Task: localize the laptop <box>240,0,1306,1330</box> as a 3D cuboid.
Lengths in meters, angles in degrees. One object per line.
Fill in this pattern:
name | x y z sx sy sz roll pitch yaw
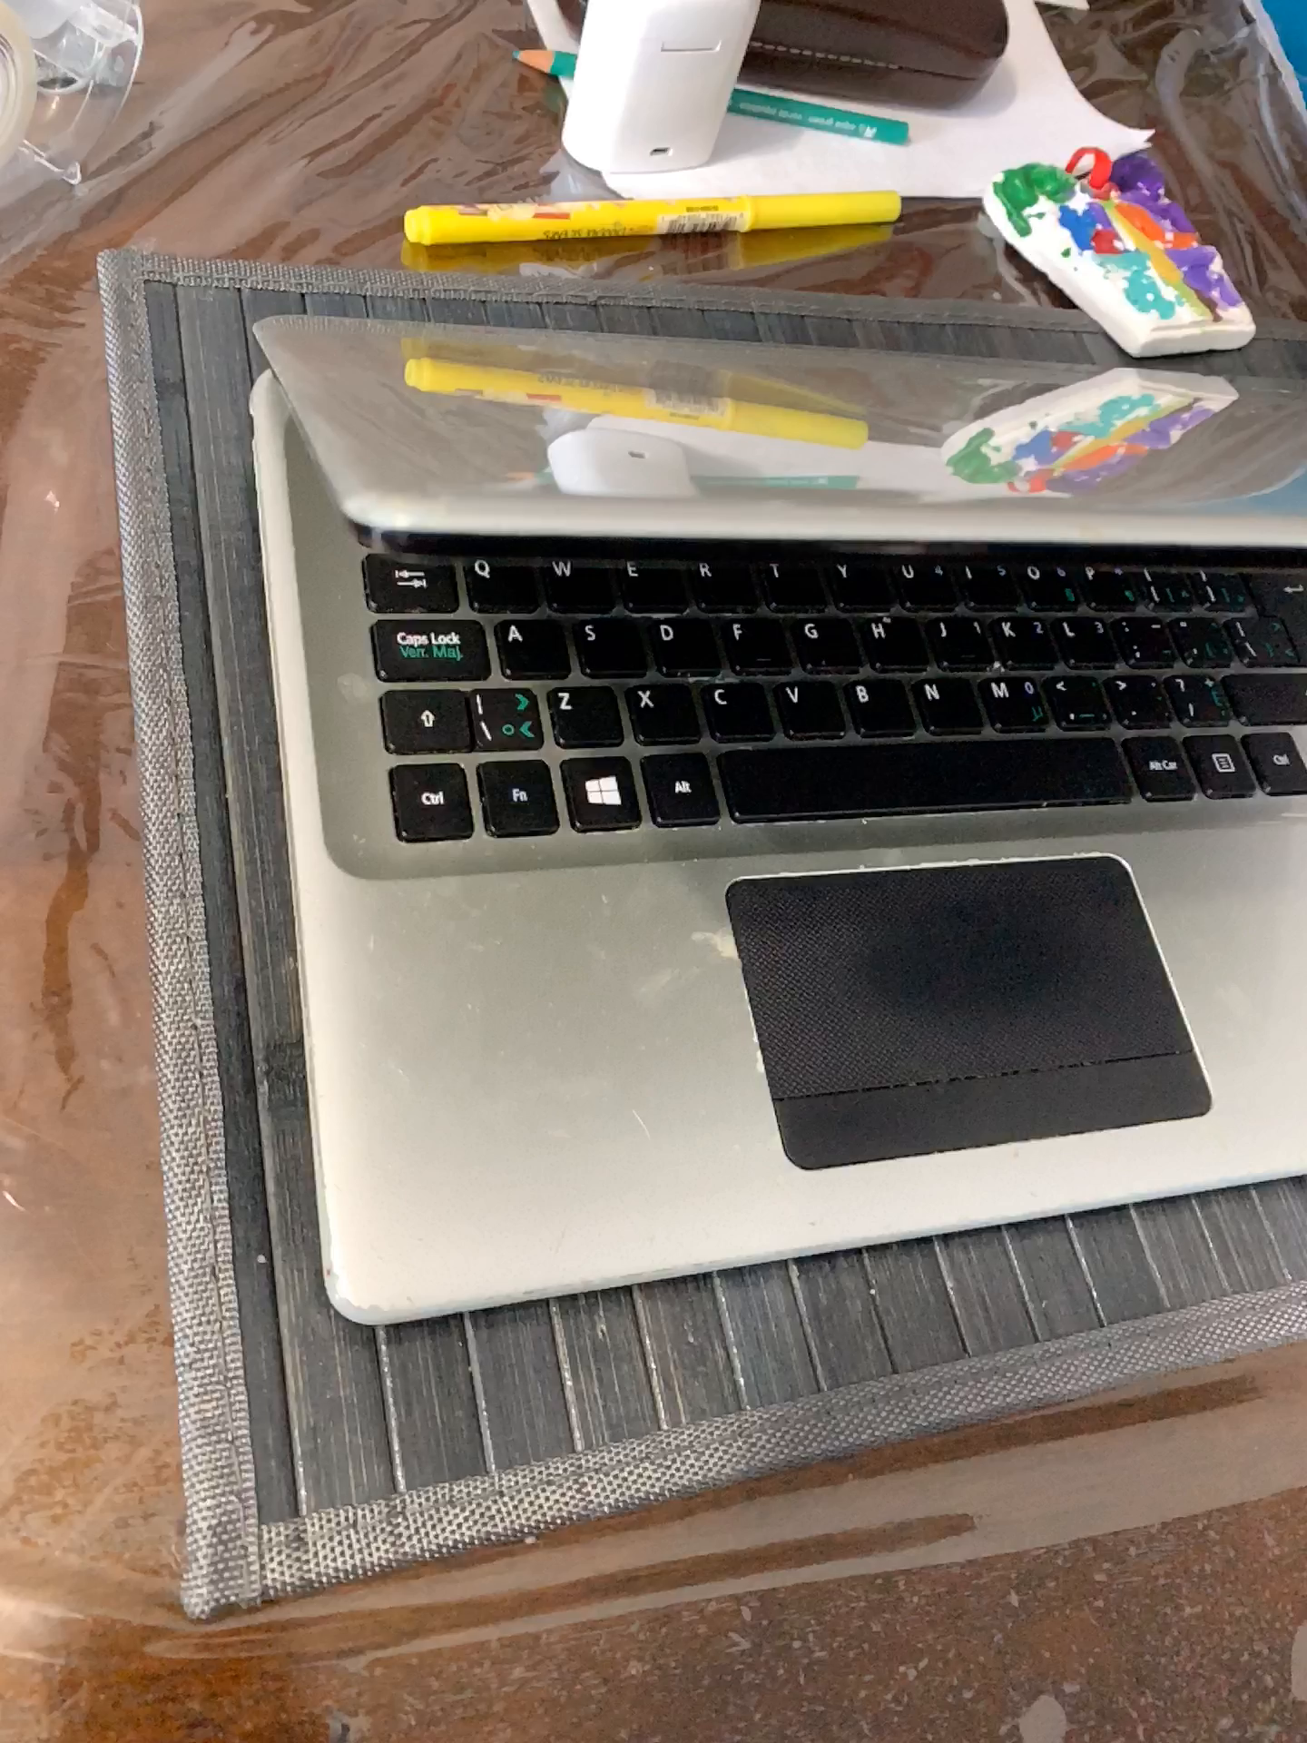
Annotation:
laptop | 0.102 -0.065 0.281 0.345 0.145 0.236 -3 64 -18
